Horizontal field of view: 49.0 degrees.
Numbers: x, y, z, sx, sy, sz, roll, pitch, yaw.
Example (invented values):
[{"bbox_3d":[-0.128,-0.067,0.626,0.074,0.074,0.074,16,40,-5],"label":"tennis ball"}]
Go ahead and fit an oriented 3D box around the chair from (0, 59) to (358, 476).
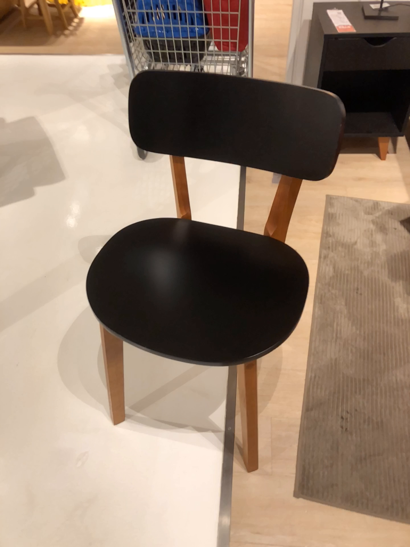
[{"bbox_3d":[0.002,0.007,0.990,0.460,0.705,0.483,12,48,14],"label":"chair"}]
